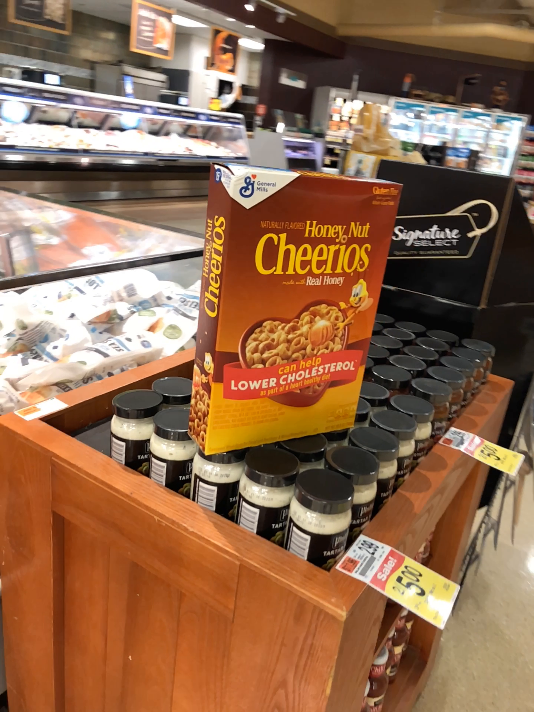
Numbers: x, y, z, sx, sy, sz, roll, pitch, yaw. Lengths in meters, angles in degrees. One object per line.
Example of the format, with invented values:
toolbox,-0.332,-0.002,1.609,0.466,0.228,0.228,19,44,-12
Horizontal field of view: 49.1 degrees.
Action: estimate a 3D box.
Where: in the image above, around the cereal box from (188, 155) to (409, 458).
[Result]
cereal box,0.030,-0.049,0.614,0.201,0.288,0.050,-6,24,-31
